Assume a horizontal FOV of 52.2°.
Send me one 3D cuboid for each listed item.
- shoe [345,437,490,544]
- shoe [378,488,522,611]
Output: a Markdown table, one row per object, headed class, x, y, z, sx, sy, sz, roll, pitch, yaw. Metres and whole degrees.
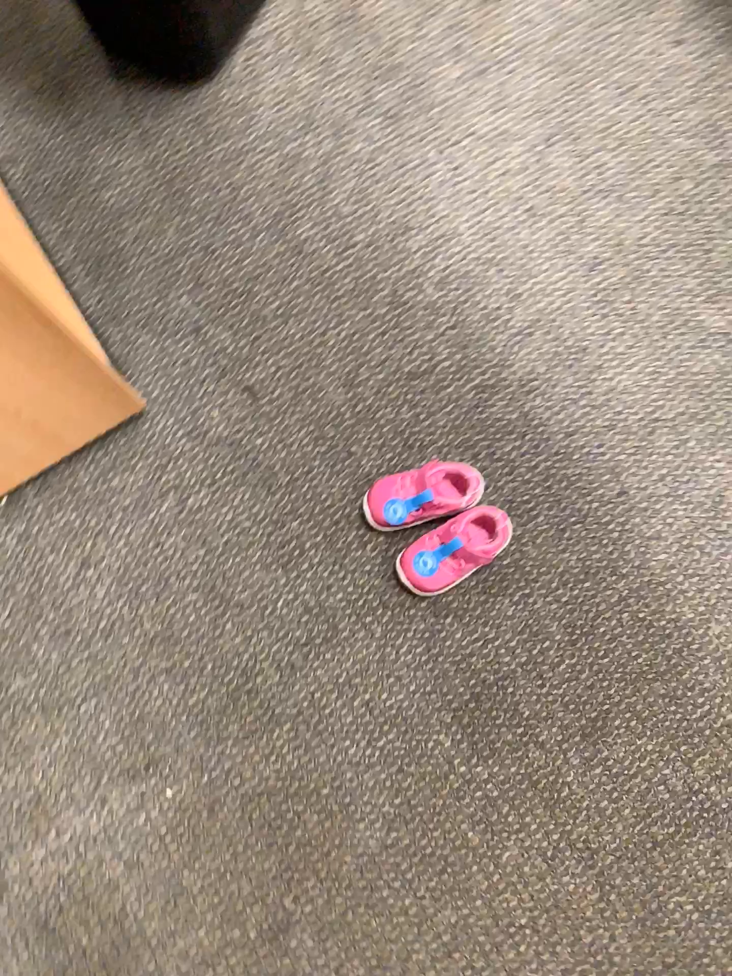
| class | x | y | z | sx | sy | sz | roll | pitch | yaw |
| --- | --- | --- | --- | --- | --- | --- | --- | --- | --- |
| shoe | 0.056 | 0.003 | 0.823 | 0.140 | 0.040 | 0.070 | -19 | 78 | -2 |
| shoe | 0.092 | 0.069 | 0.830 | 0.140 | 0.040 | 0.070 | -30 | 79 | -4 |
